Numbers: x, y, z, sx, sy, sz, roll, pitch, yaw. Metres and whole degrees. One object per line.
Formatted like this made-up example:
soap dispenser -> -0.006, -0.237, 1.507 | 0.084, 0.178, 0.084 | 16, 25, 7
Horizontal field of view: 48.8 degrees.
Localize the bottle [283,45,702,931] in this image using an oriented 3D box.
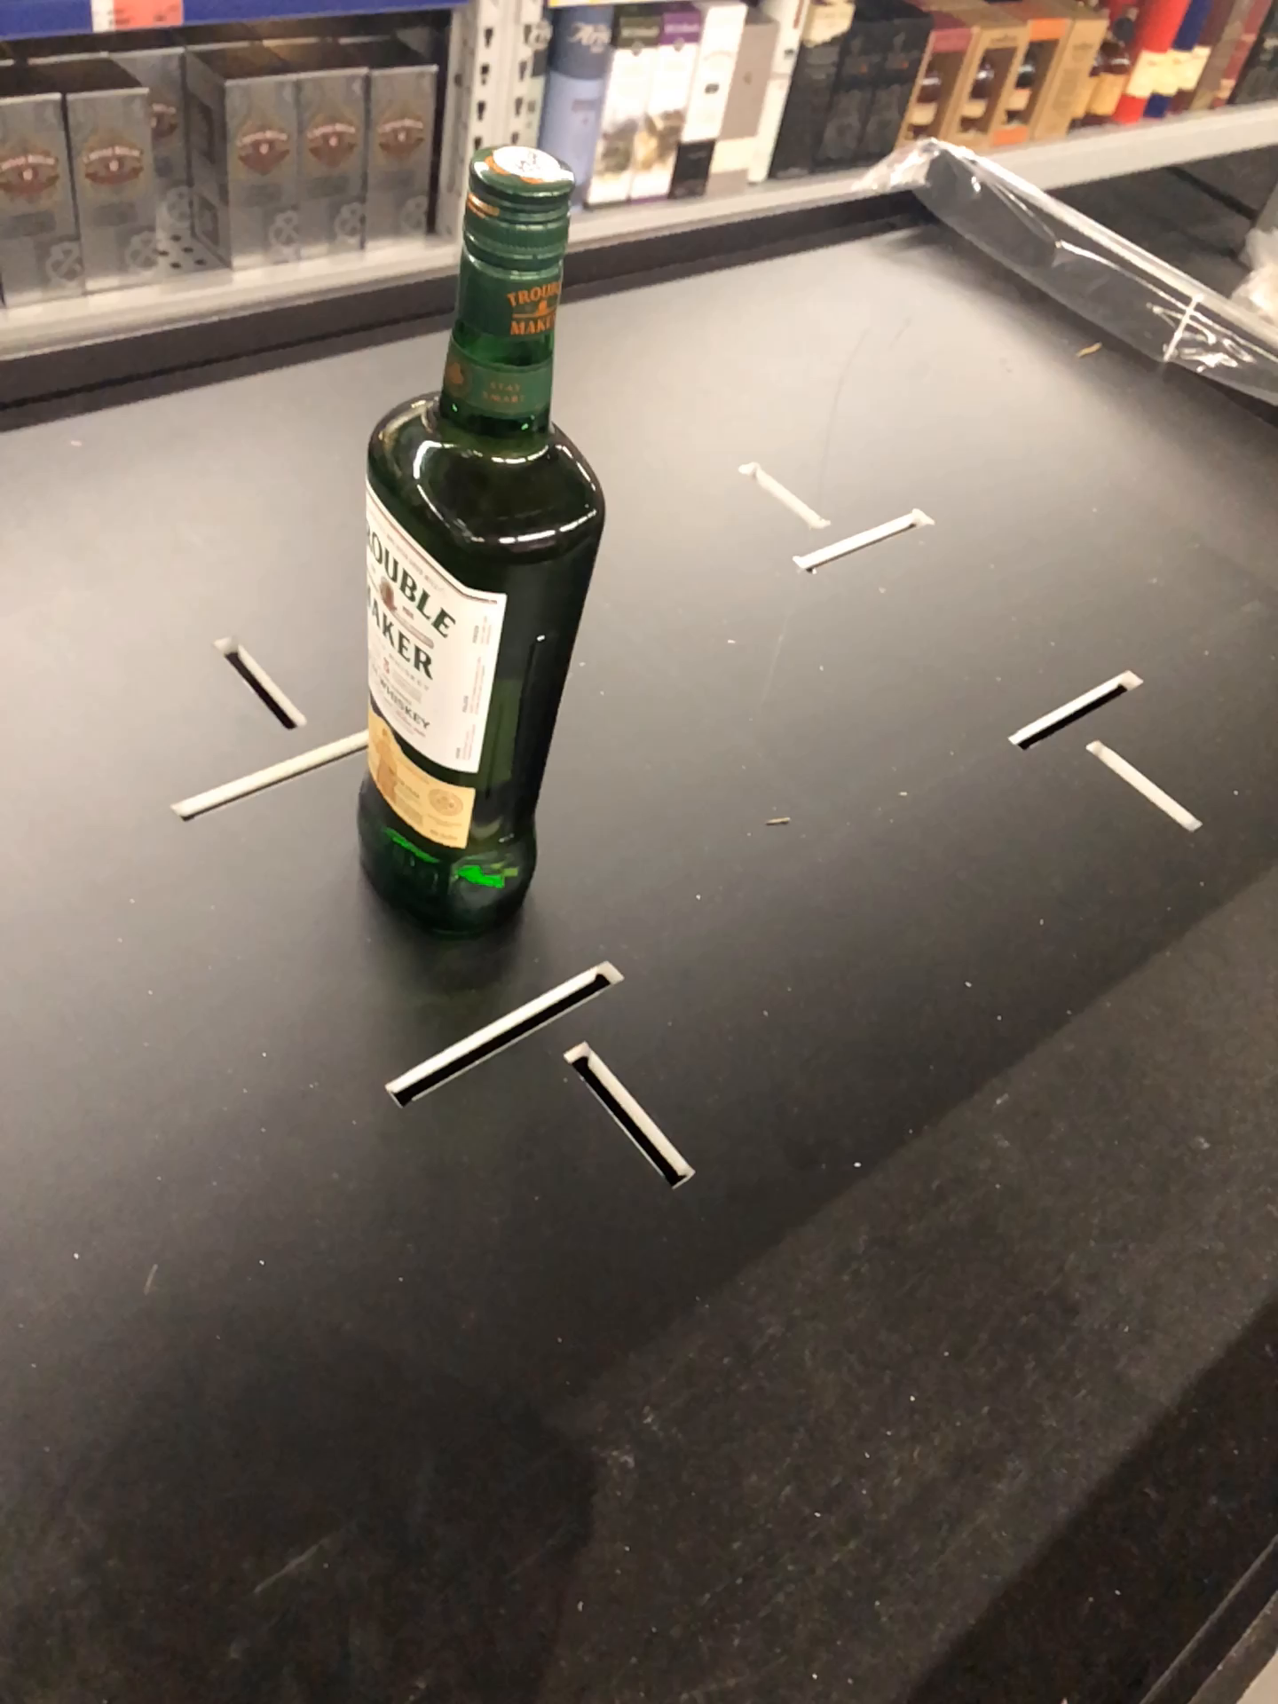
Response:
bottle -> -0.070, -0.113, 0.516 | 0.080, 0.298, 0.100 | -23, 58, -30
